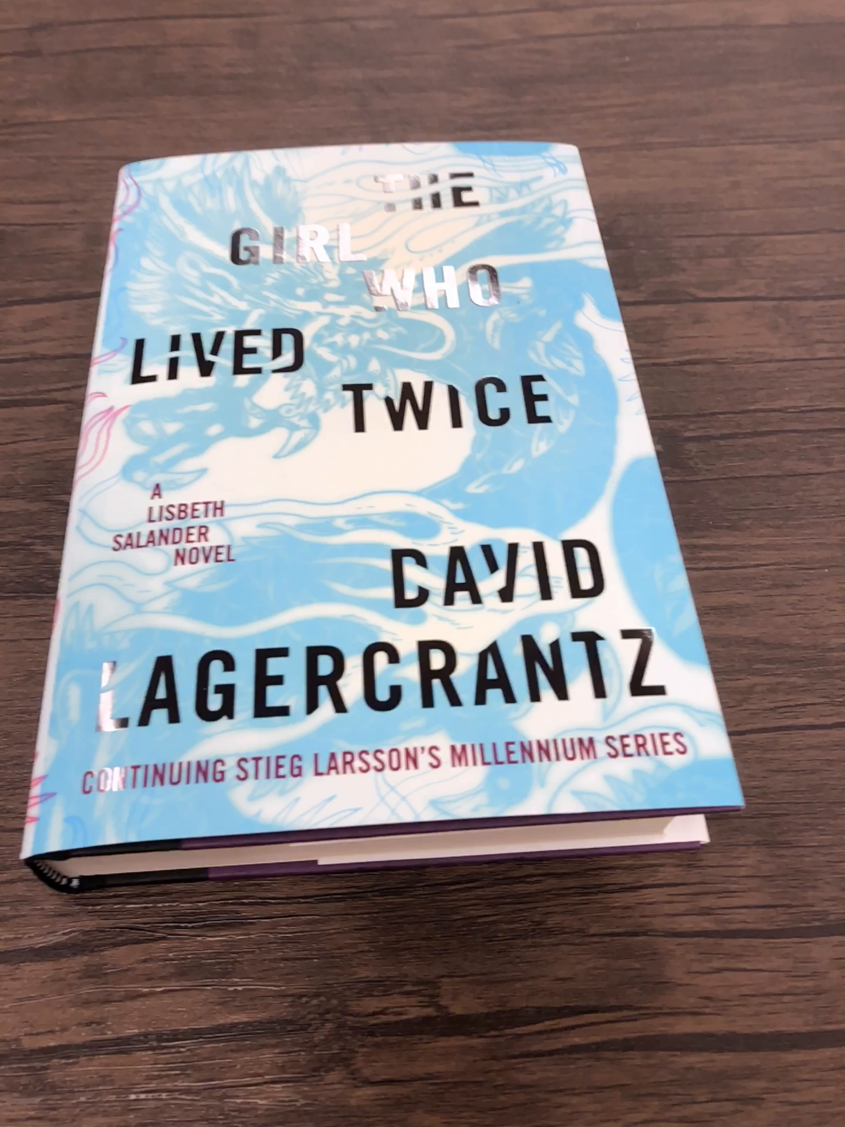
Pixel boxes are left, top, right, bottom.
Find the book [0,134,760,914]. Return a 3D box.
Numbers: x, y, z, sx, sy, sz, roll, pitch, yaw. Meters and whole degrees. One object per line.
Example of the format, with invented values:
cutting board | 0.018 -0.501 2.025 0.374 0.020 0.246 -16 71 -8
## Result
book | -0.020 -0.032 0.279 0.170 0.040 0.240 -3 59 -2
